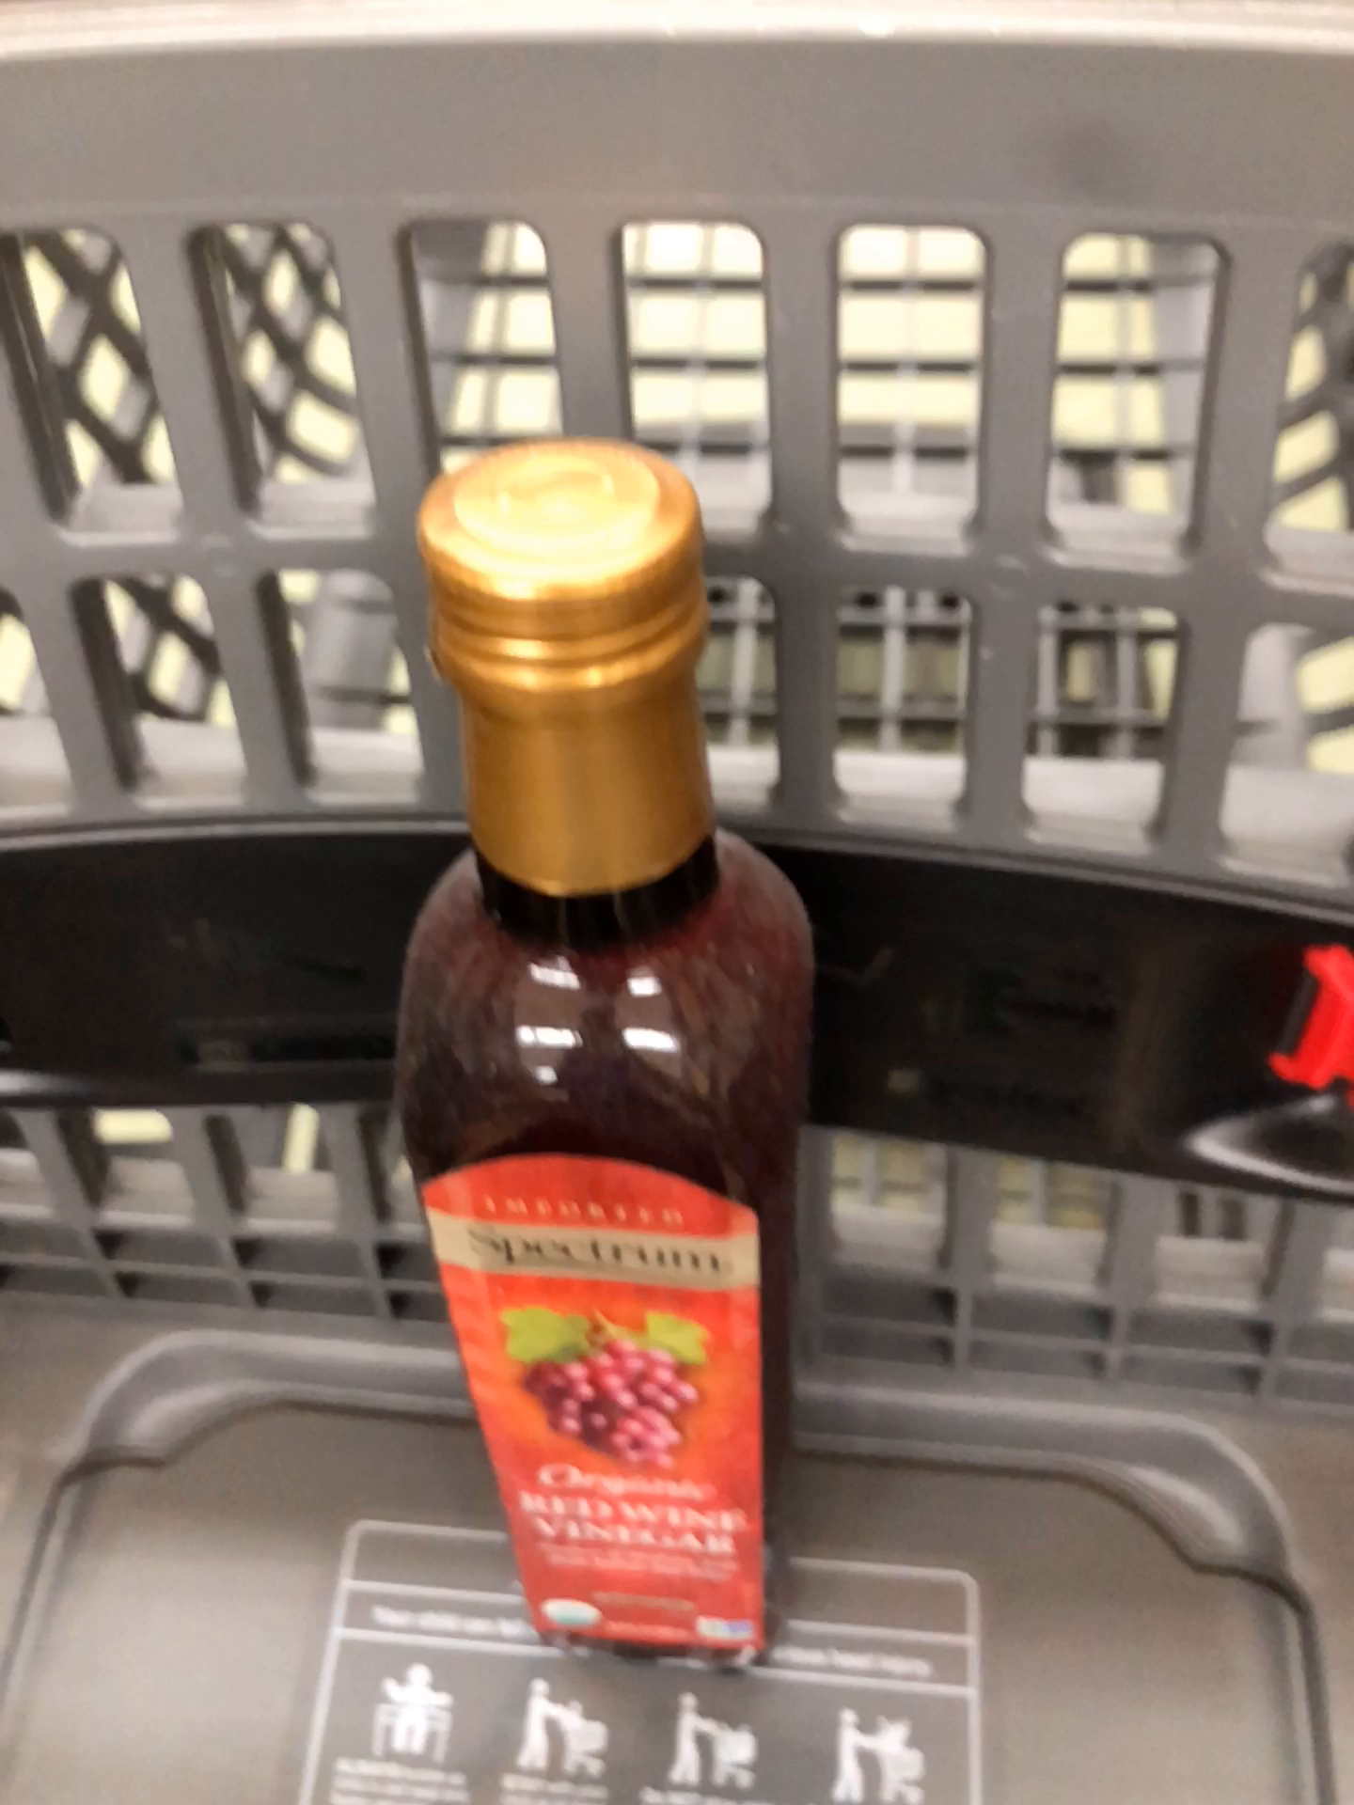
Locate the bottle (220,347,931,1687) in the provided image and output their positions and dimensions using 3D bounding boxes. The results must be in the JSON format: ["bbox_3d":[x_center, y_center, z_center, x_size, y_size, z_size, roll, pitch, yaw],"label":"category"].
[{"bbox_3d":[-0.001,0.049,0.269,0.070,0.270,0.070,-2,45,2],"label":"bottle"}]
